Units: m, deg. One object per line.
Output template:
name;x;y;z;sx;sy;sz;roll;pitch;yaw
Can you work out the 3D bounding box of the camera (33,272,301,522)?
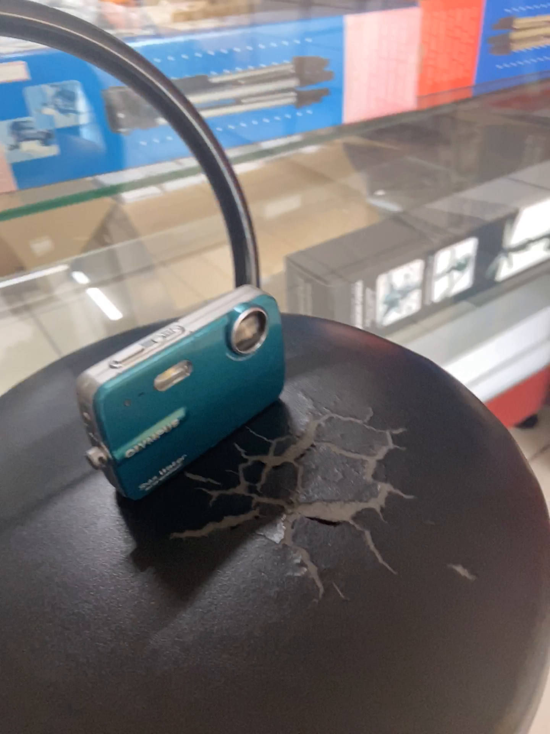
camera;-0.035;0.007;0.229;0.030;0.050;0.100;28;47;36
